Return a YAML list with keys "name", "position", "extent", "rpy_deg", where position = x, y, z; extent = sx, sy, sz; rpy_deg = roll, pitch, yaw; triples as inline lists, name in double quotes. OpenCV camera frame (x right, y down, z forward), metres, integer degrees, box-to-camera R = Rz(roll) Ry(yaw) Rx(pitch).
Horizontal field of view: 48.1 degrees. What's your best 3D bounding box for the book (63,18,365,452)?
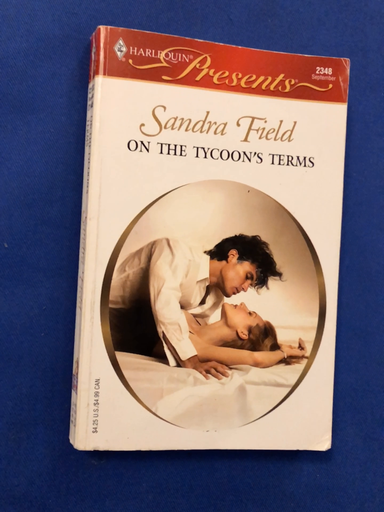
- name: "book"
  position: [0.010, -0.005, 0.173]
  extent: [0.107, 0.020, 0.157]
  rpy_deg: [3, 90, -8]
